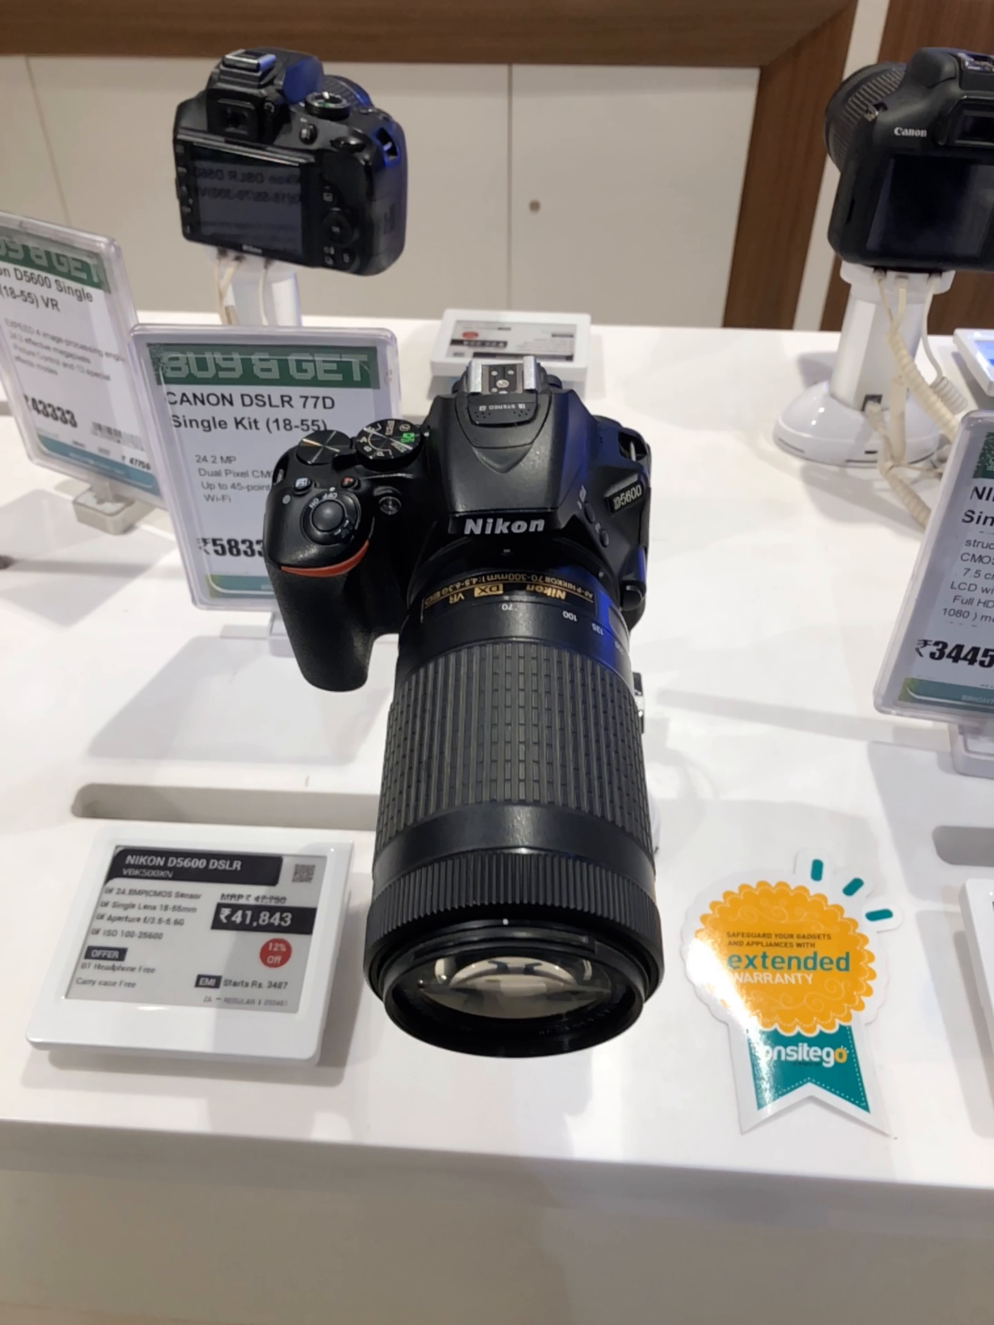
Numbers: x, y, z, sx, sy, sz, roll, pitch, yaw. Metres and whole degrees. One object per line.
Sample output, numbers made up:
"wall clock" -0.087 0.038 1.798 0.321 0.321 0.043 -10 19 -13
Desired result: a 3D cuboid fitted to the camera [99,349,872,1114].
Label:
"camera" 0.000 0.003 0.304 0.140 0.089 0.201 1 43 1
